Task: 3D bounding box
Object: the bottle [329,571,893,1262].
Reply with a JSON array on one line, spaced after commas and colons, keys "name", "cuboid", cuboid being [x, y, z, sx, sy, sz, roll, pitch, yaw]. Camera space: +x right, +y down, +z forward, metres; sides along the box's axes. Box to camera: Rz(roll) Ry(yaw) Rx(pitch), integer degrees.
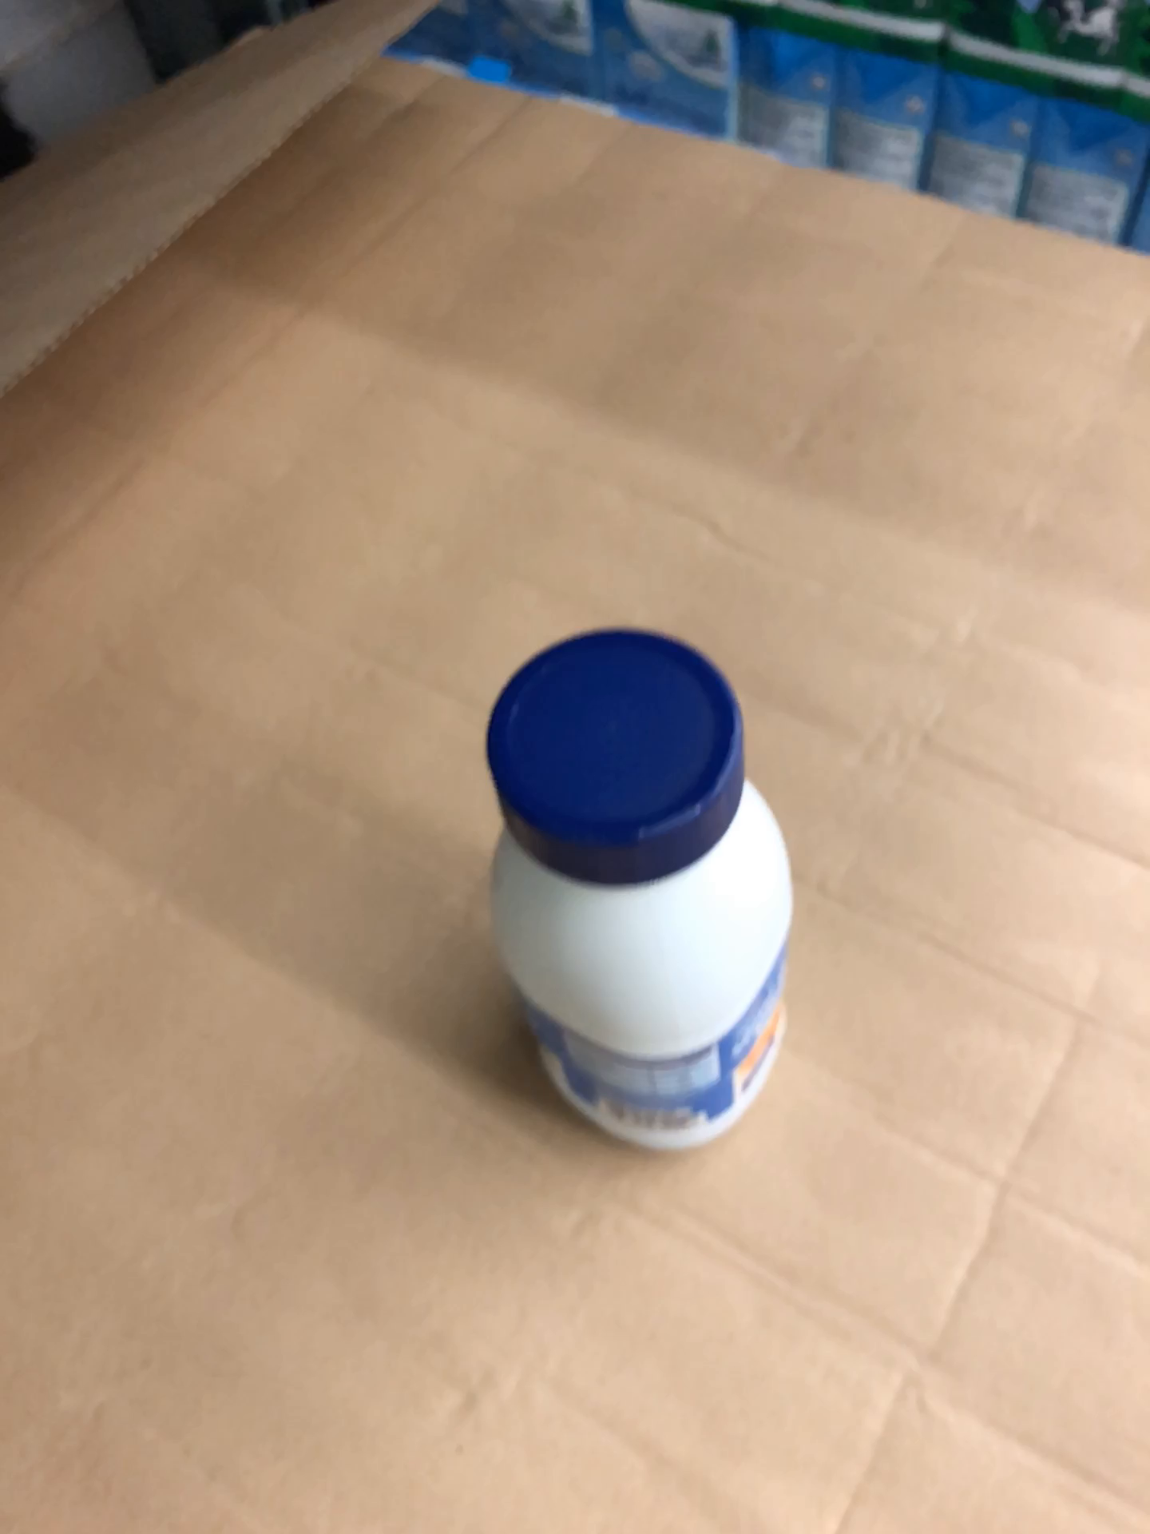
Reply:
[{"name": "bottle", "cuboid": [0.017, 0.047, 0.310, 0.080, 0.169, 0.080, -3, 58, 5]}]
